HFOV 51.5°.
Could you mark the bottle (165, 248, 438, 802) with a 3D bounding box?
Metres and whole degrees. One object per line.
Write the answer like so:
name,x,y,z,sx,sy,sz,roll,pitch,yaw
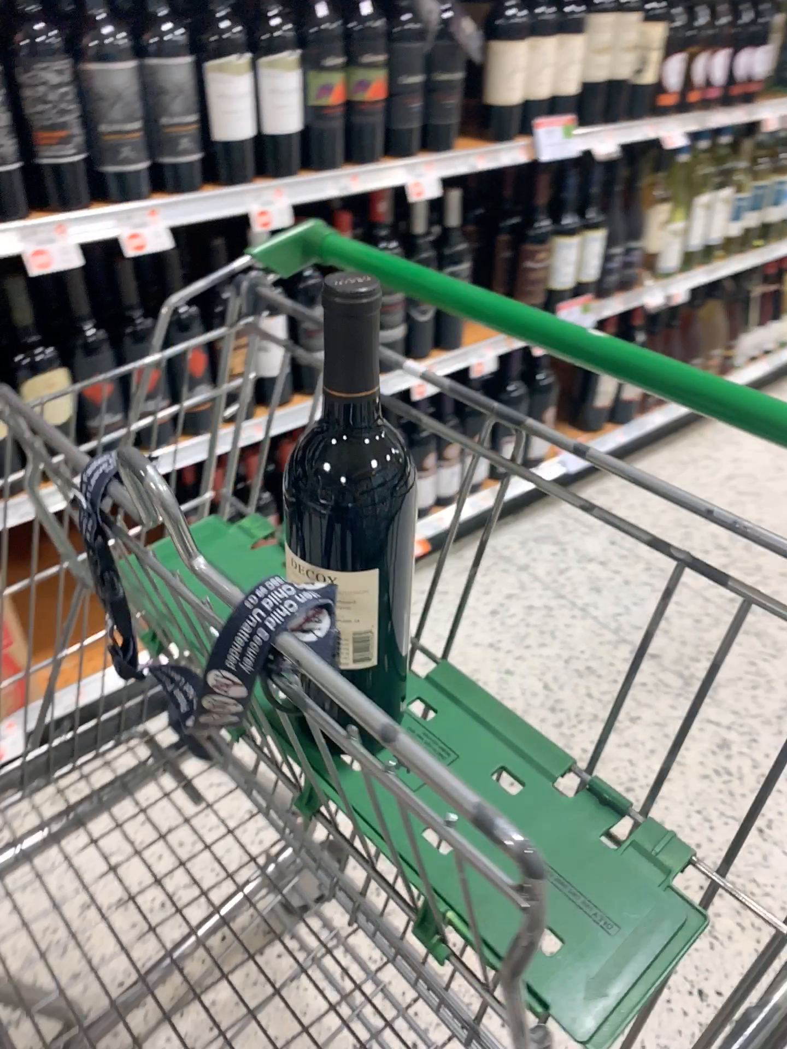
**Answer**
bottle,-0.045,0.012,0.467,0.090,0.297,0.091,1,35,-1
